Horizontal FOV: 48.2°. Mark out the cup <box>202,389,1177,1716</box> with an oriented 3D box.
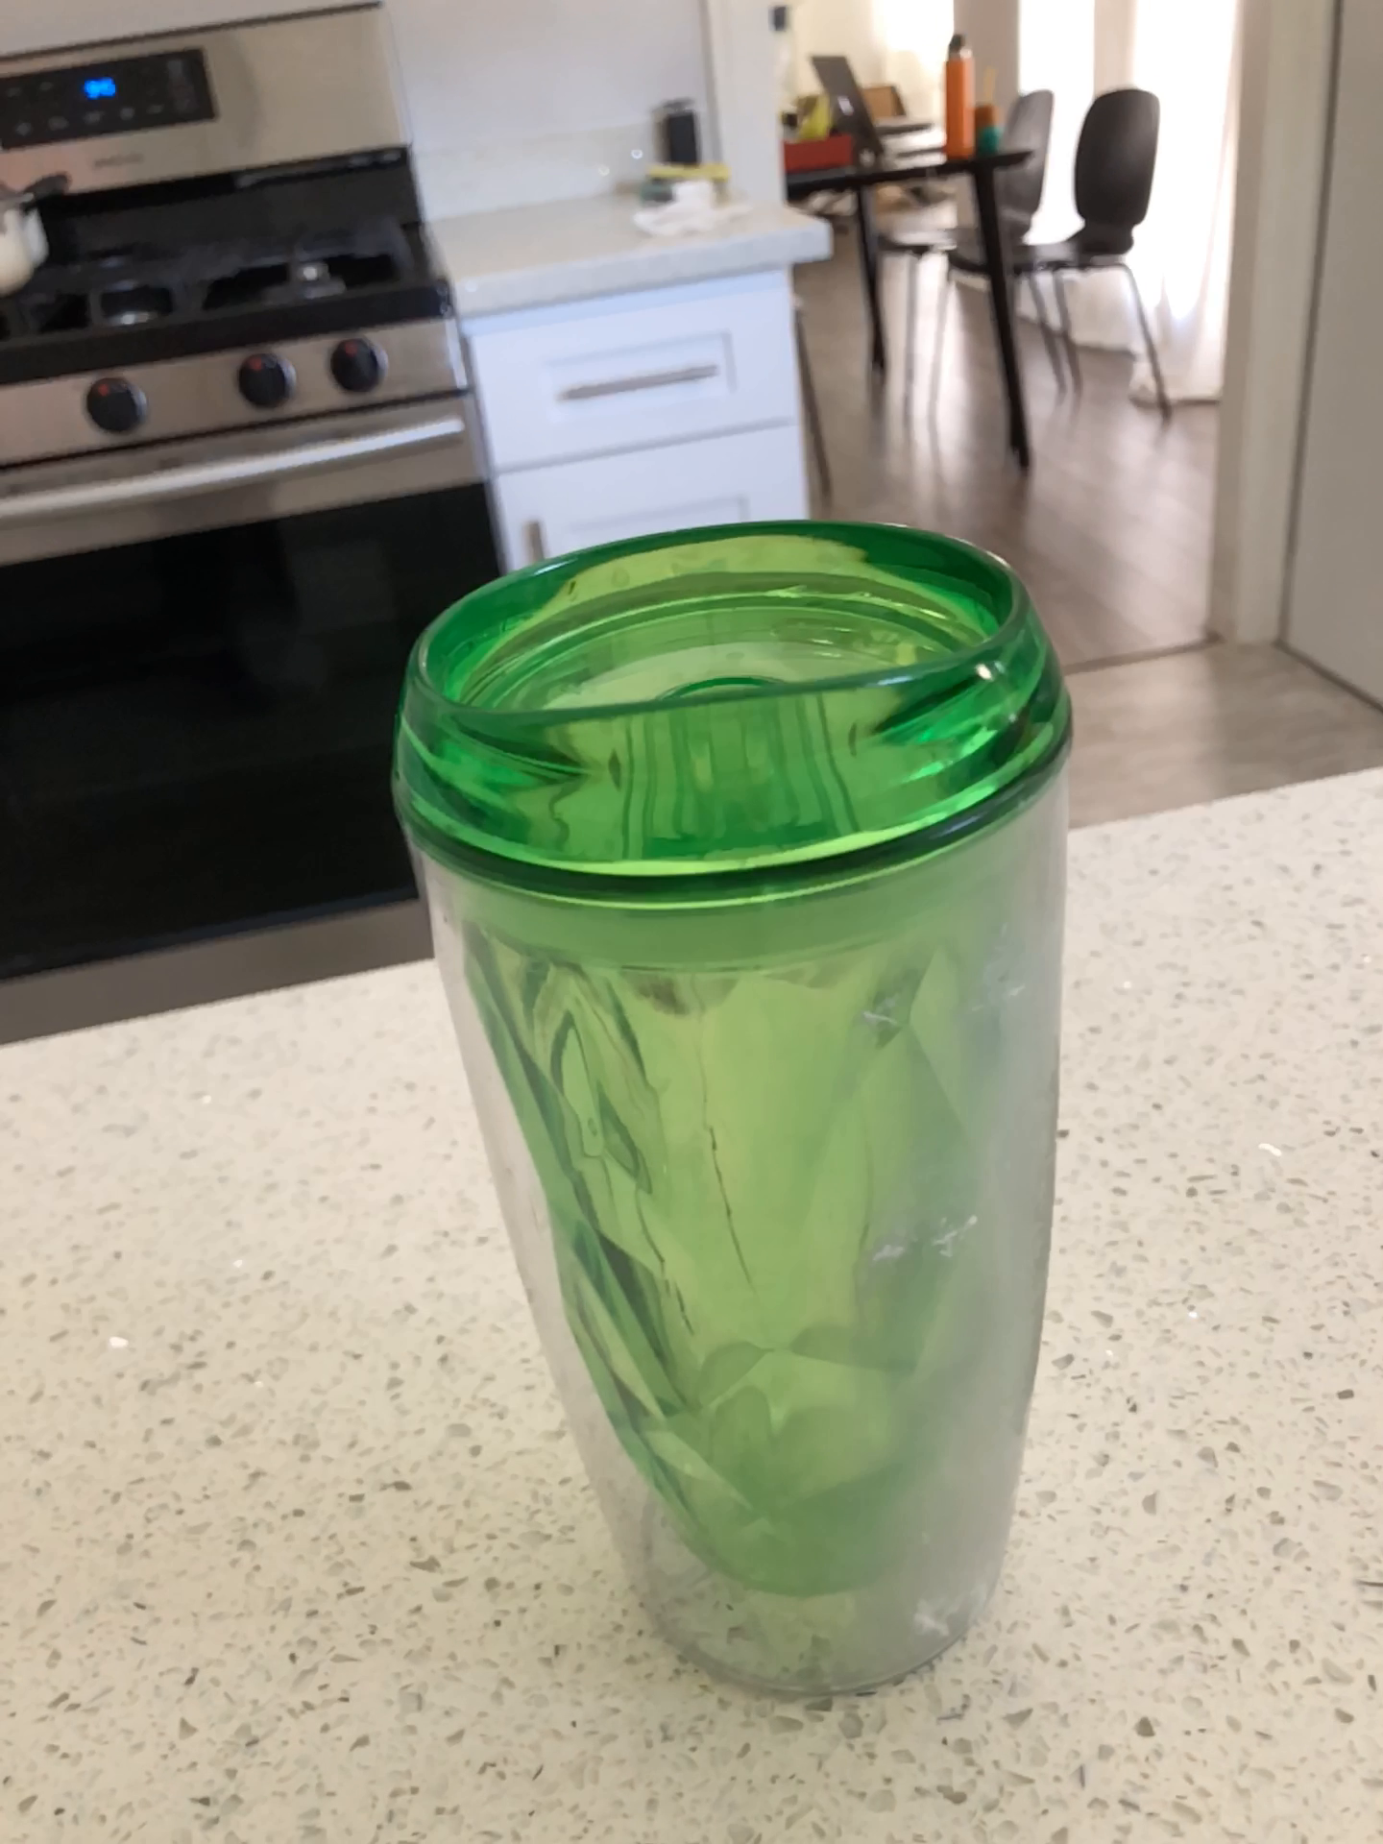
[{"bbox_3d":[0.010,0.021,0.220,0.090,0.159,0.090,-6,29,3],"label":"cup"}]
